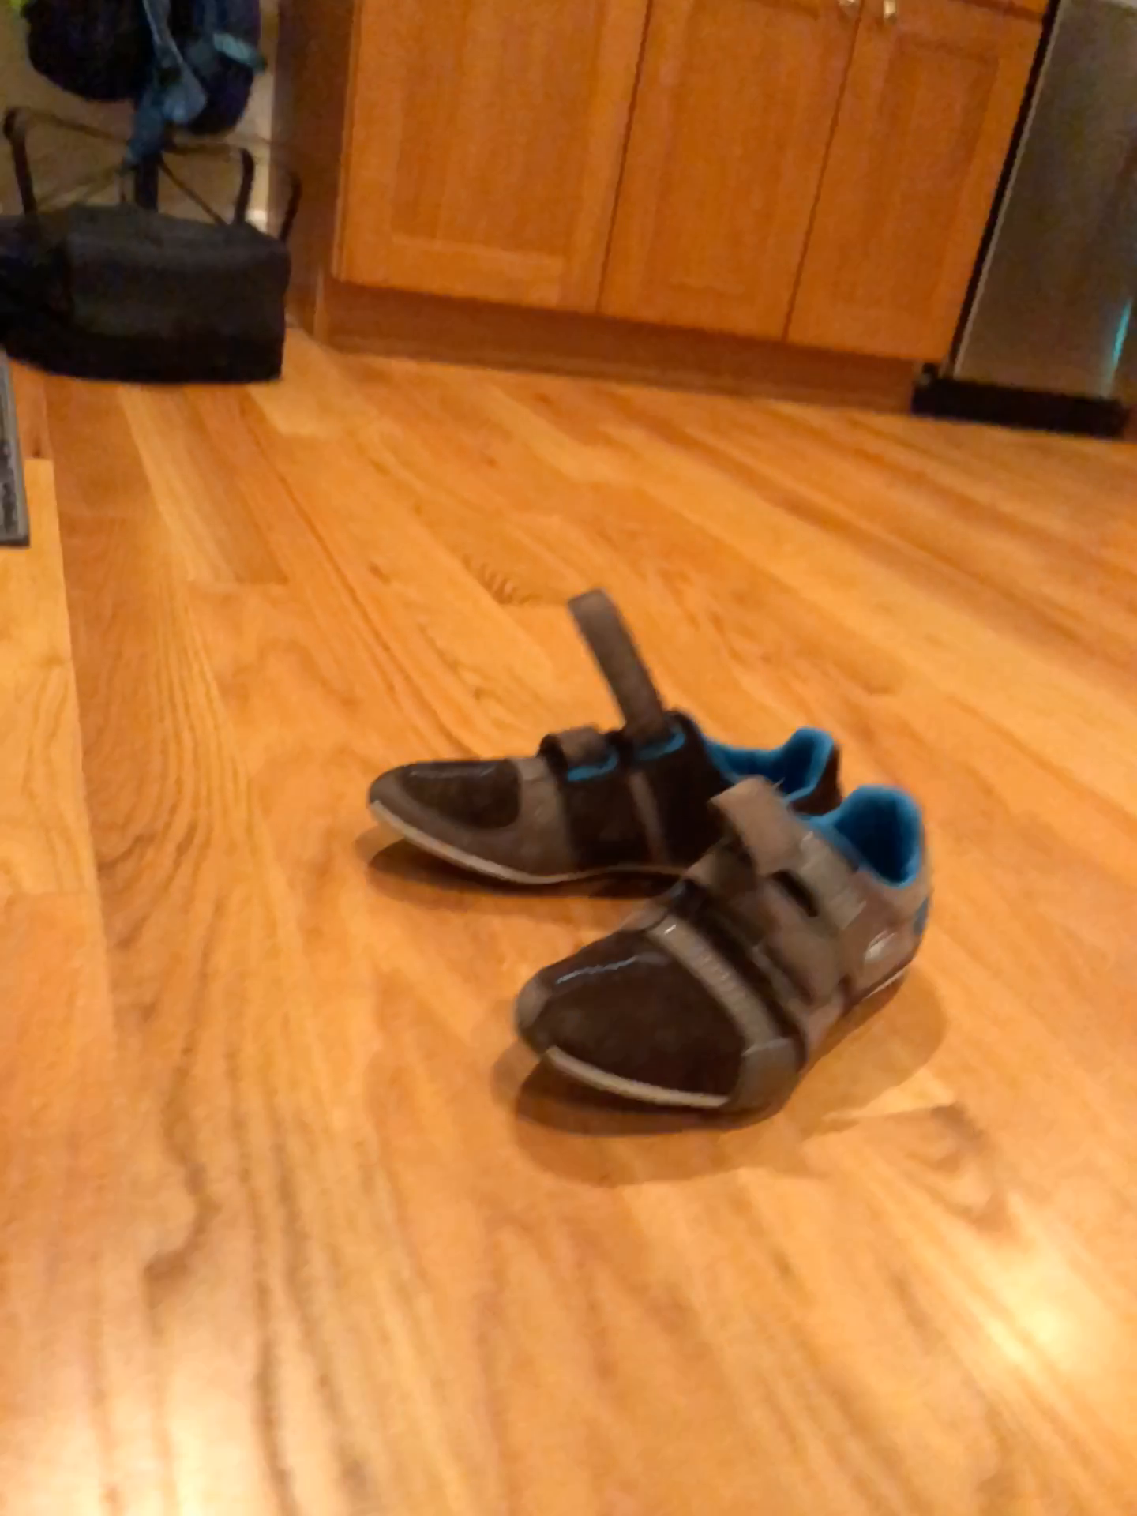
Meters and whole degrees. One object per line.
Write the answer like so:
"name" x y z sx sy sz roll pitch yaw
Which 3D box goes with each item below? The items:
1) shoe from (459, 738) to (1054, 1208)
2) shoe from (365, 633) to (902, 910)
"shoe" 0.090 0.074 0.541 0.256 0.091 0.102 -14 34 -42
"shoe" 0.027 0.007 0.664 0.255 0.091 0.103 5 25 -14
